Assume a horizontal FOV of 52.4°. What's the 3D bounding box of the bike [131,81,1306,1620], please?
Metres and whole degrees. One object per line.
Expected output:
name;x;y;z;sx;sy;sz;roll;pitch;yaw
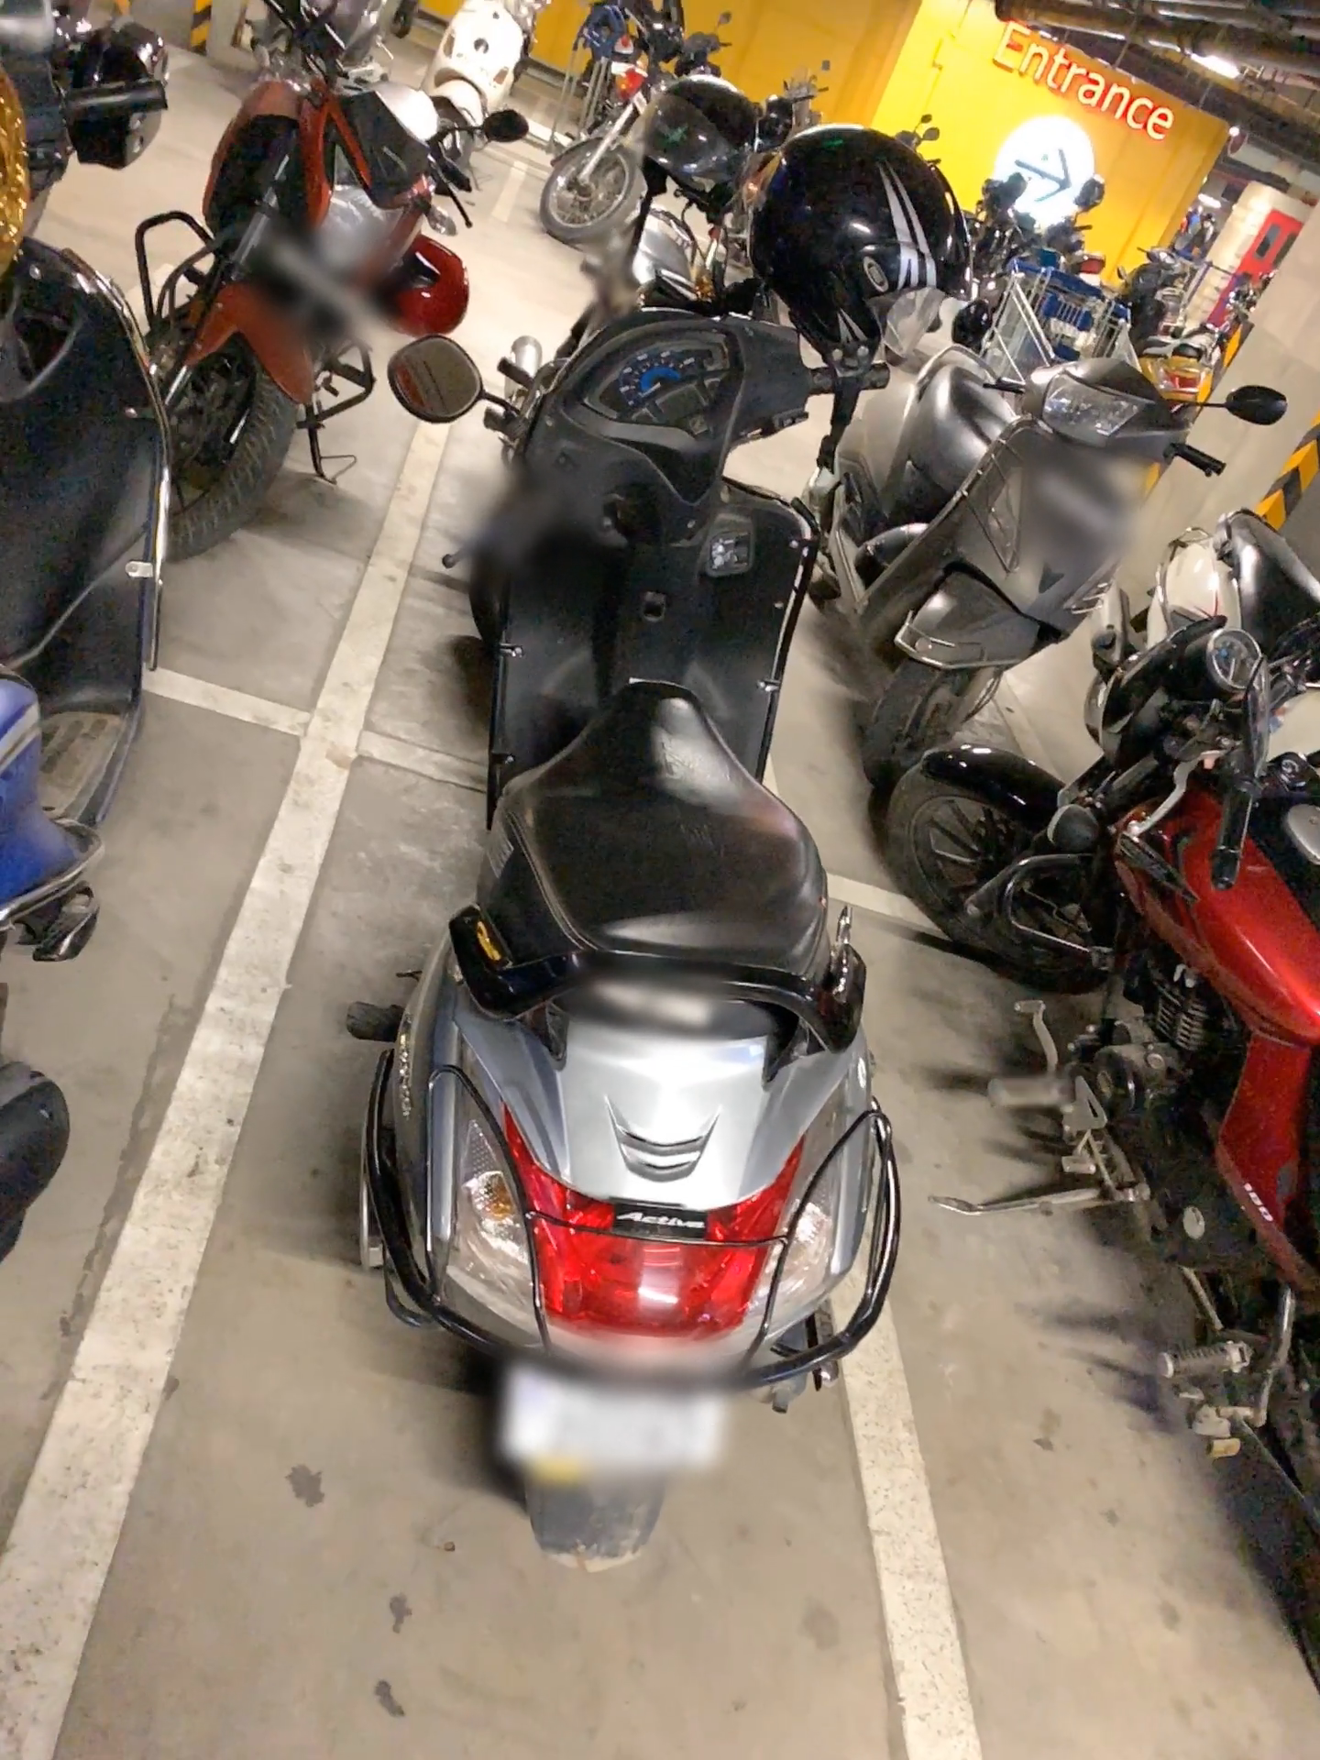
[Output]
bike;-0.080;-0.163;1.731;0.631;1.089;1.540;15;36;-17
